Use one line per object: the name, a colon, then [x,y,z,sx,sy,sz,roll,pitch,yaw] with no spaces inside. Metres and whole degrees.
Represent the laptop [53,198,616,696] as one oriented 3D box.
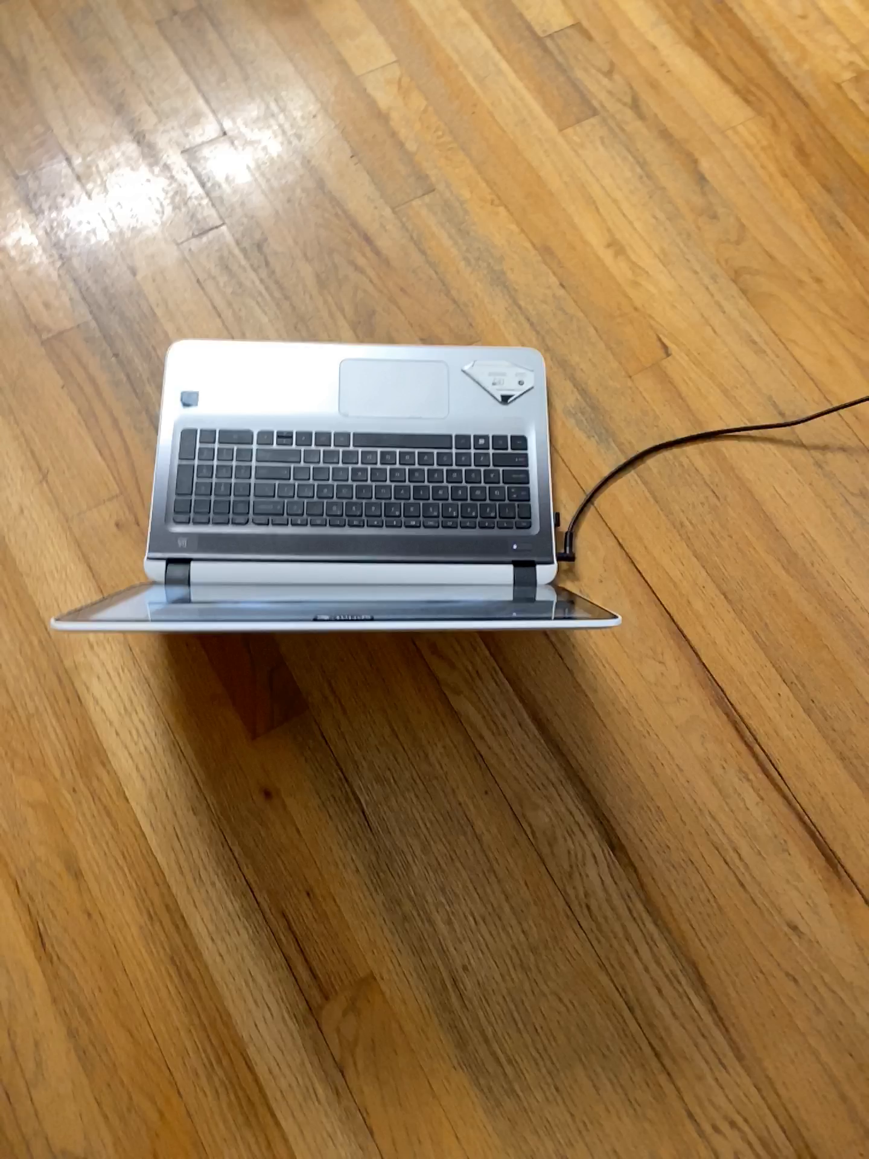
laptop: [-0.071,-0.102,0.746,0.371,0.202,0.364,0,69,-3]
